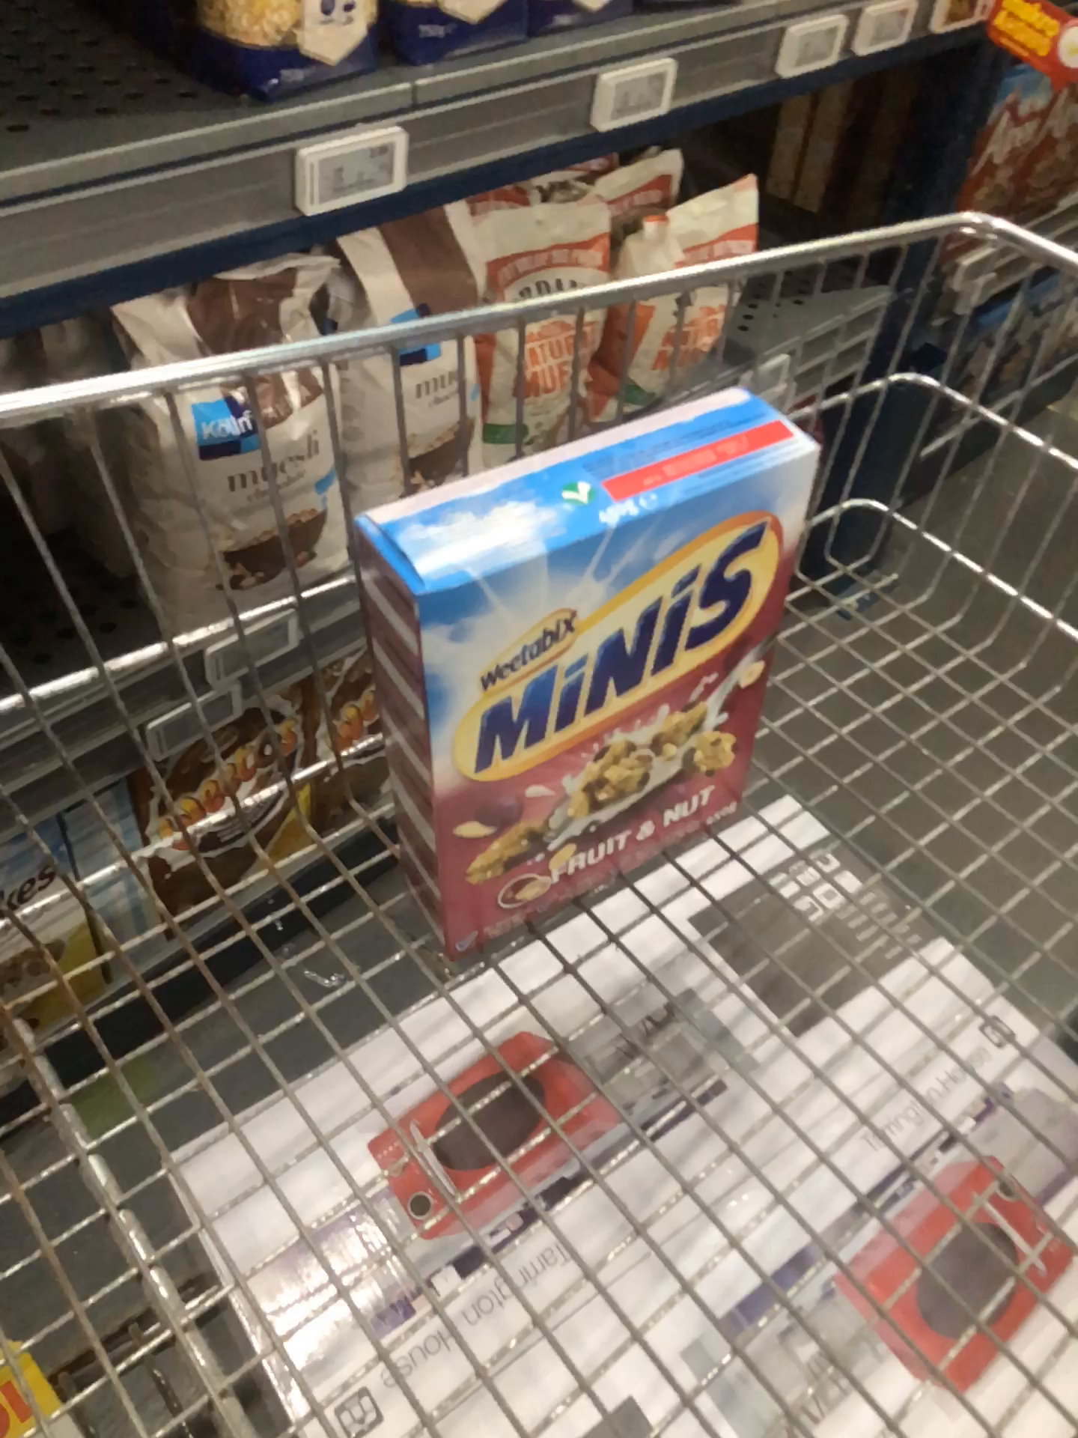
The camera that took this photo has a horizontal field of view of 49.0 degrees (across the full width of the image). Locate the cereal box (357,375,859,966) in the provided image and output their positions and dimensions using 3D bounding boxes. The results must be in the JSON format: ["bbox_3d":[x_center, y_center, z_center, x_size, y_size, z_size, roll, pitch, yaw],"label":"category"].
[{"bbox_3d":[0.032,-0.019,0.627,0.220,0.259,0.080,-24,52,-23],"label":"cereal box"}]
